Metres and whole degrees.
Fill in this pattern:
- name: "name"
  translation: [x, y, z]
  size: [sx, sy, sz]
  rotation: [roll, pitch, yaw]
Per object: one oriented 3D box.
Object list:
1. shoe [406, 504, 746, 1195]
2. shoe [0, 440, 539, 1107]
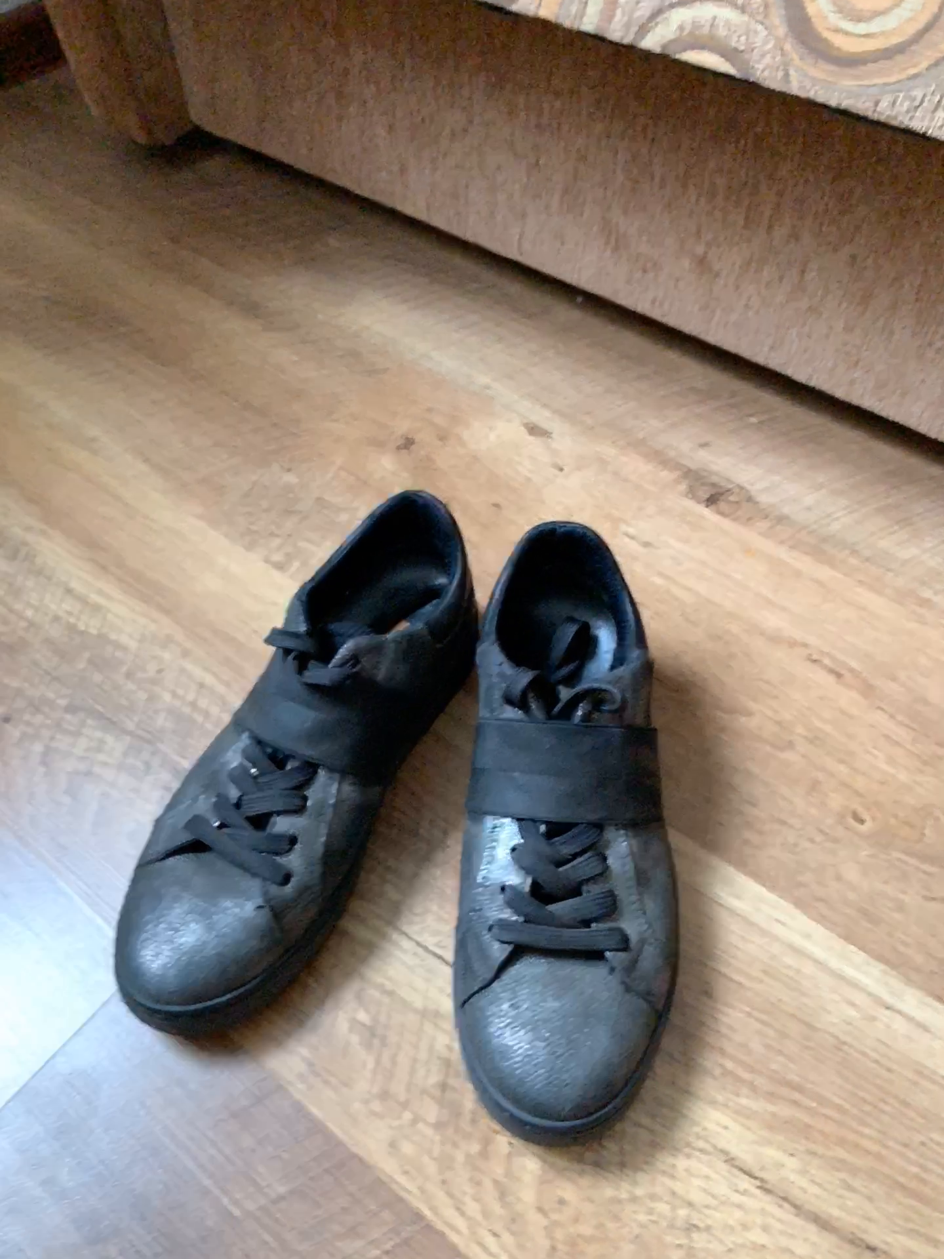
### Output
- name: "shoe"
  translation: [0.039, 0.074, 0.404]
  size: [0.100, 0.090, 0.261]
  rotation: [2, 52, 3]
- name: "shoe"
  translation: [-0.071, 0.045, 0.424]
  size: [0.100, 0.090, 0.261]
  rotation: [21, 55, 16]
